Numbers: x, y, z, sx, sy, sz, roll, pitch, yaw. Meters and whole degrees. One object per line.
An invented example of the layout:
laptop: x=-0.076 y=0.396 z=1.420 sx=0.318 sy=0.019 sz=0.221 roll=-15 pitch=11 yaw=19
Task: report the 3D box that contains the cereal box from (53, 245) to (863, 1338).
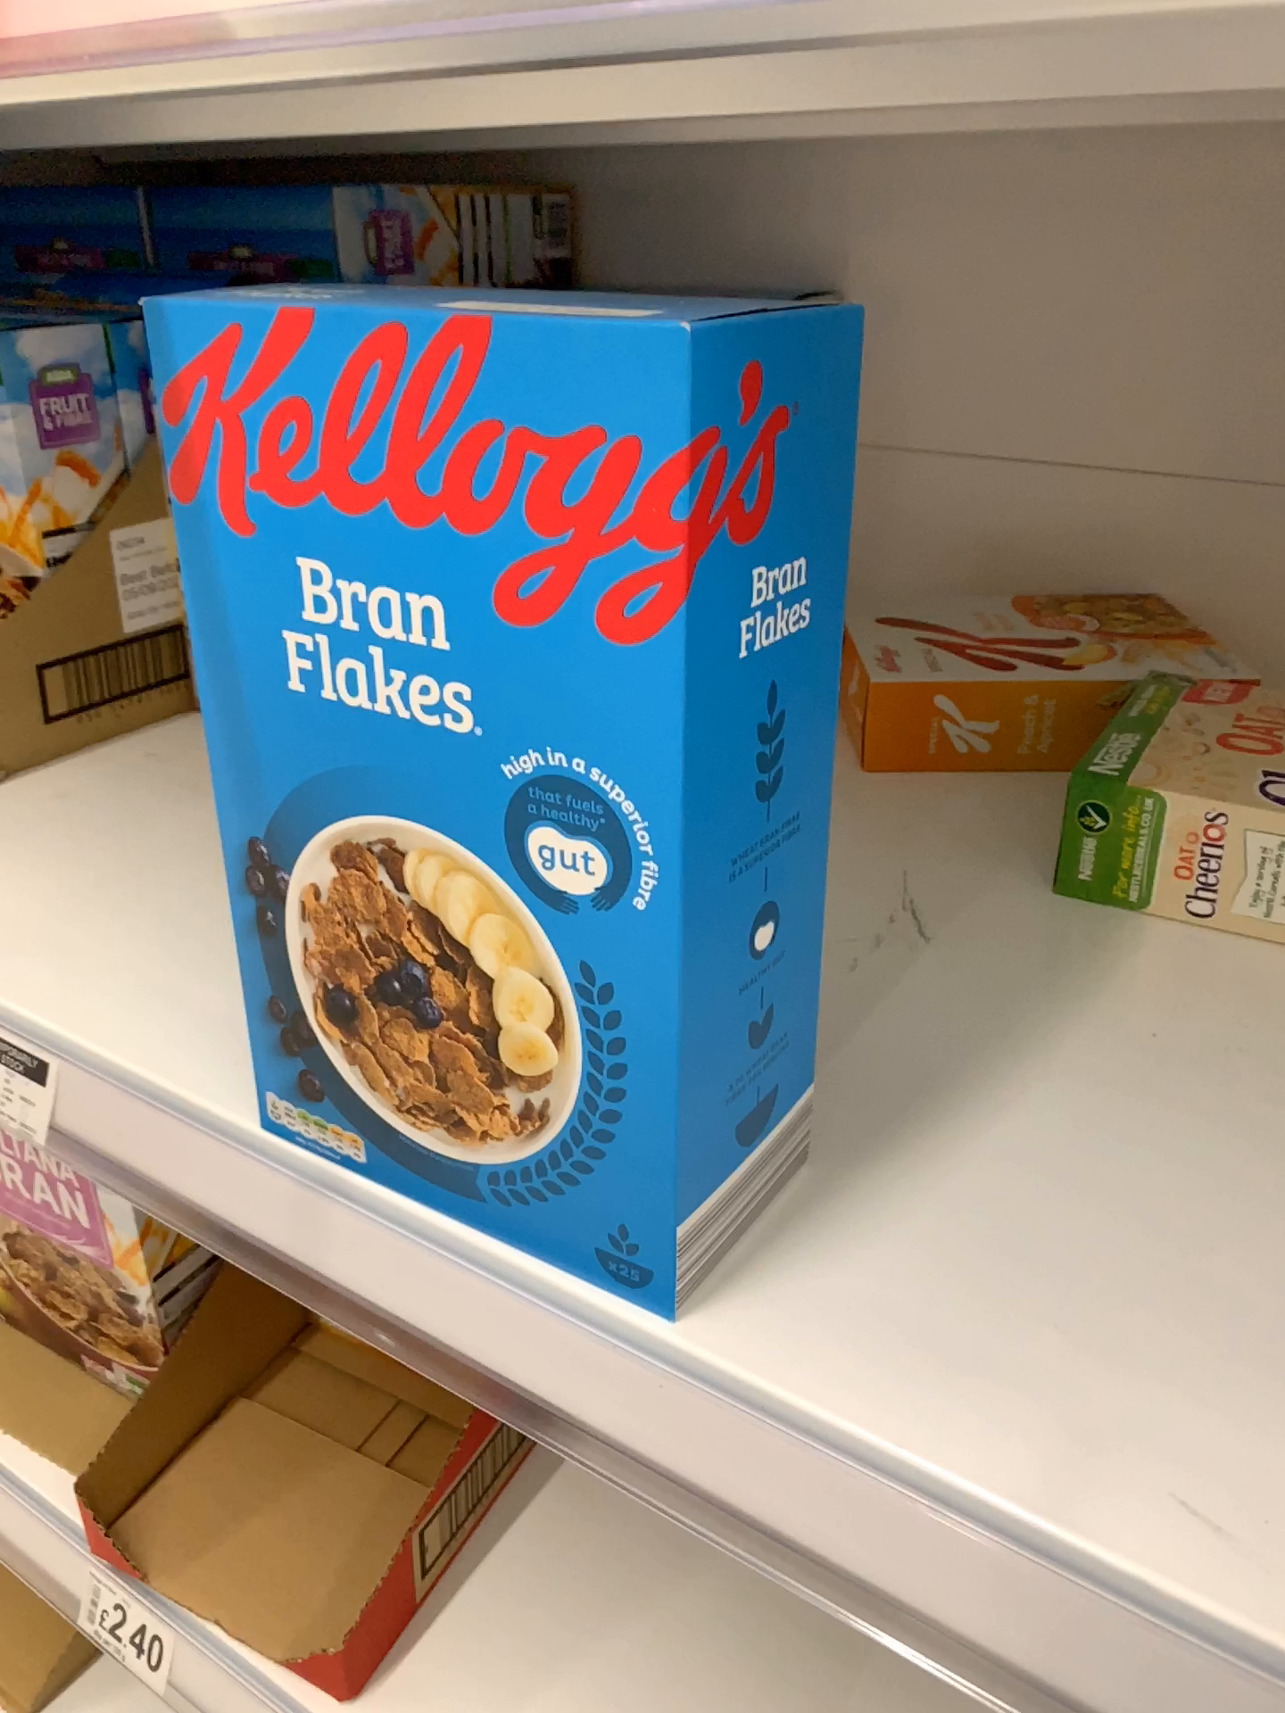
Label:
cereal box: x=-0.054 y=-0.030 z=0.423 sx=0.210 sy=0.297 sz=0.091 roll=15 pitch=30 yaw=30
